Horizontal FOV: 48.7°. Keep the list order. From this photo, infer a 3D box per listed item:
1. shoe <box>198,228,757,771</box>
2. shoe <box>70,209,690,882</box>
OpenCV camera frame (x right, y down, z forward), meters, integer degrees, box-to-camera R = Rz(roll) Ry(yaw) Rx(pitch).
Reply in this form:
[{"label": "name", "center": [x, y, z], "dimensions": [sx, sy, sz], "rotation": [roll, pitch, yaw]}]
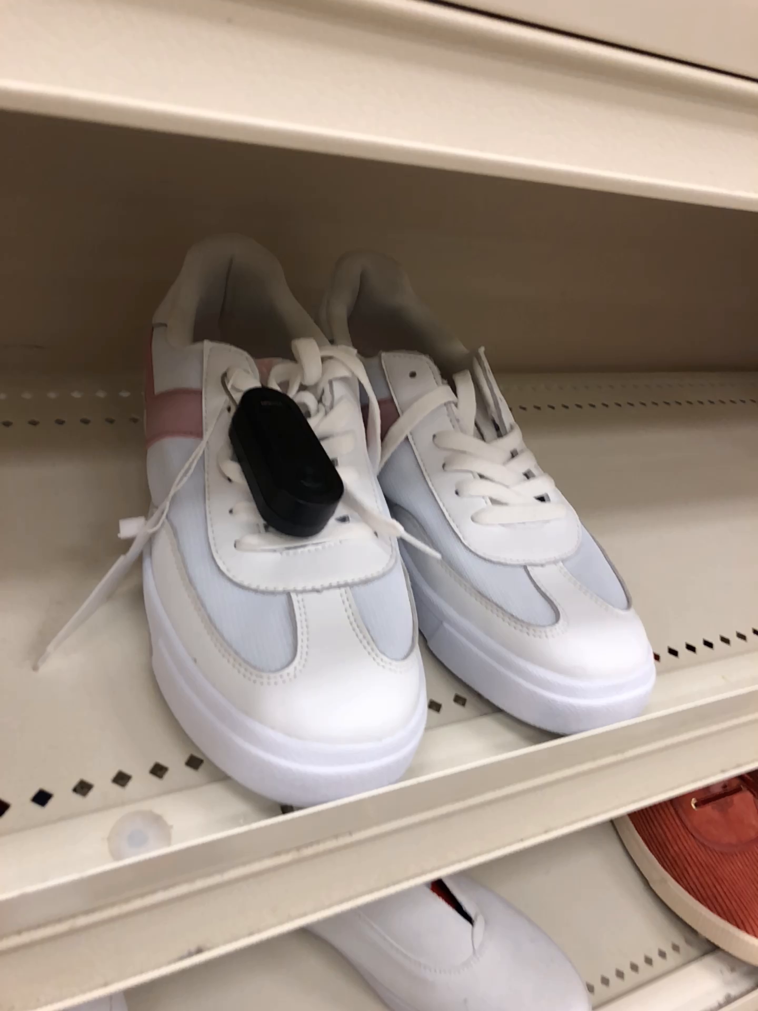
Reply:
[{"label": "shoe", "center": [0.027, -0.050, 0.446], "dimensions": [0.120, 0.119, 0.392], "rotation": [-6, 27, -30]}, {"label": "shoe", "center": [-0.057, -0.041, 0.384], "dimensions": [0.120, 0.119, 0.392], "rotation": [-3, 26, -25]}]
